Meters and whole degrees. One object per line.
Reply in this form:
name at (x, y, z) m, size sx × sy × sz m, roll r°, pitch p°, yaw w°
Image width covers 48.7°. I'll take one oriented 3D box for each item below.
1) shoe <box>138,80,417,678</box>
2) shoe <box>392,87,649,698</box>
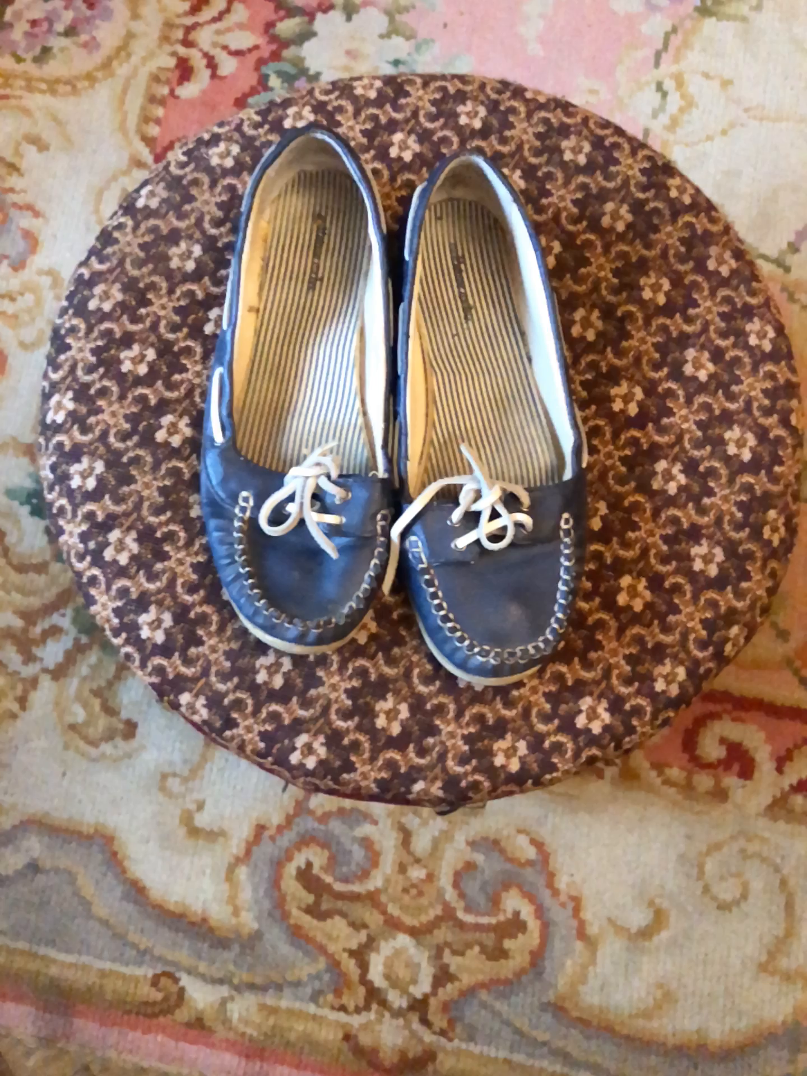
shoe at (-0.046, -0.068, 0.411) m, size 0.090 × 0.100 × 0.250 m, roll 1°, pitch 75°, yaw 5°
shoe at (0.043, -0.058, 0.396) m, size 0.090 × 0.090 × 0.250 m, roll -1°, pitch 81°, yaw -2°
